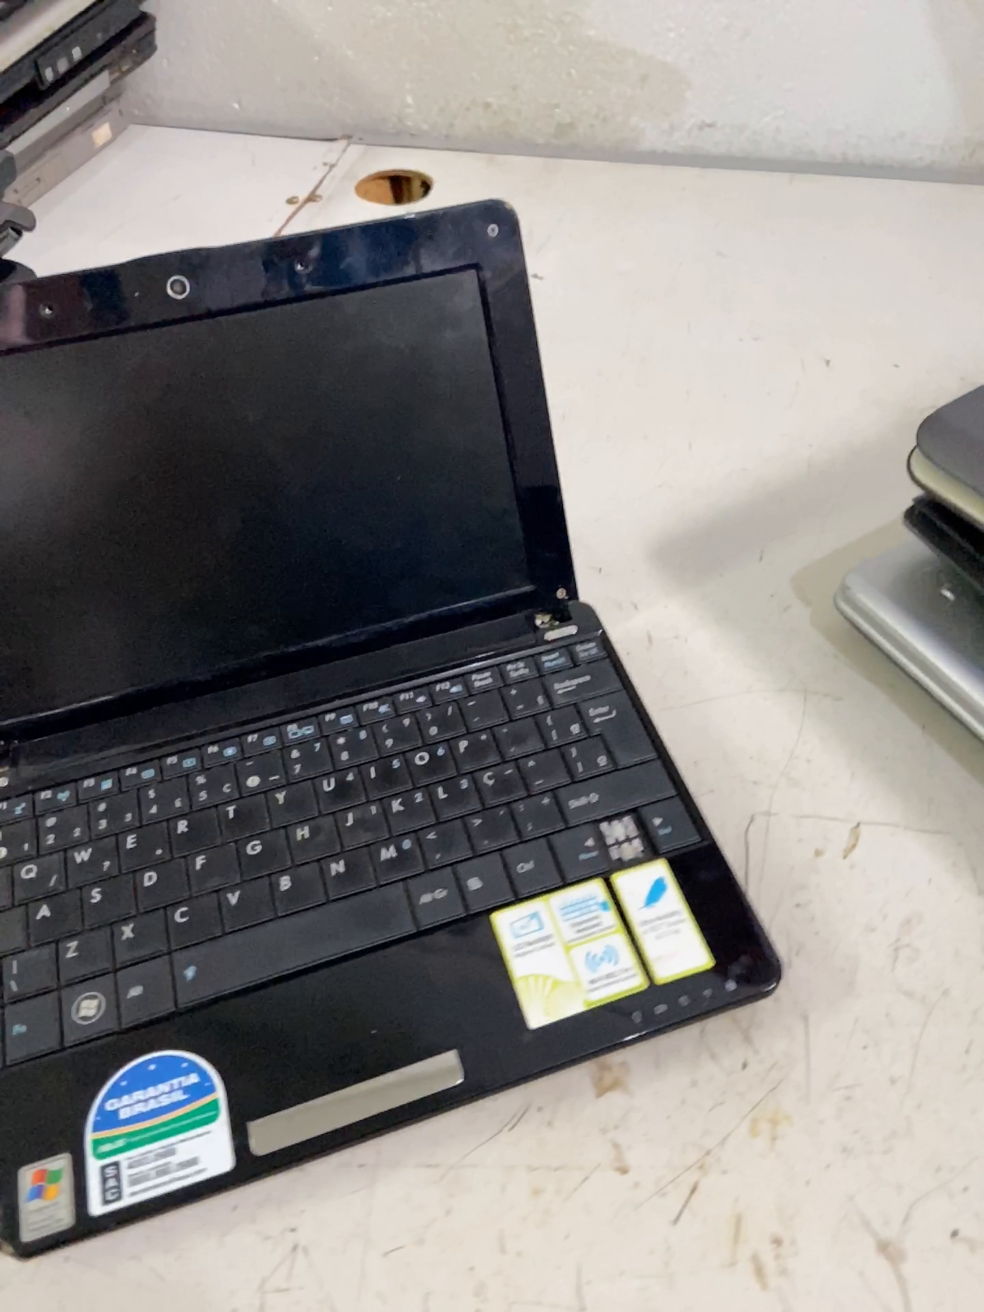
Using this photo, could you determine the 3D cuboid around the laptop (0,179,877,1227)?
[{"bbox_3d":[-0.075,-0.011,0.337,0.258,0.131,0.266,-15,52,-10],"label":"laptop"}]
